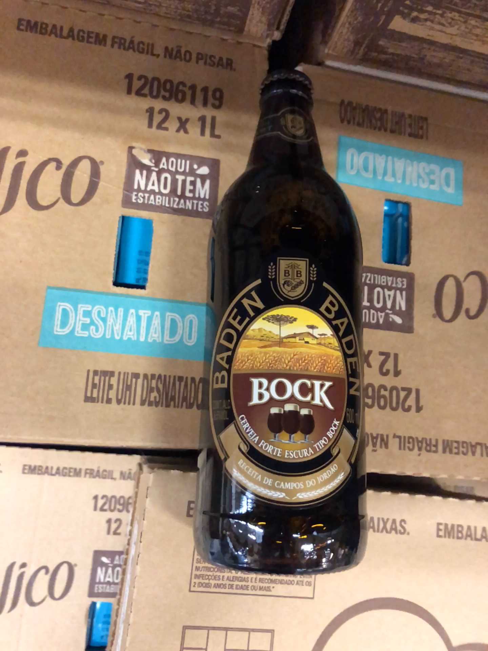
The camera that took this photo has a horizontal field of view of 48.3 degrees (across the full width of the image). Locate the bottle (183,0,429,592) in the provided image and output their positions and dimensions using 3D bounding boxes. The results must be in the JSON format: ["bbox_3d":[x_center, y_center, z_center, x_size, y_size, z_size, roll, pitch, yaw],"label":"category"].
[{"bbox_3d":[0.020,-0.017,0.241,0.080,0.070,0.230,3,78,-11],"label":"bottle"}]
